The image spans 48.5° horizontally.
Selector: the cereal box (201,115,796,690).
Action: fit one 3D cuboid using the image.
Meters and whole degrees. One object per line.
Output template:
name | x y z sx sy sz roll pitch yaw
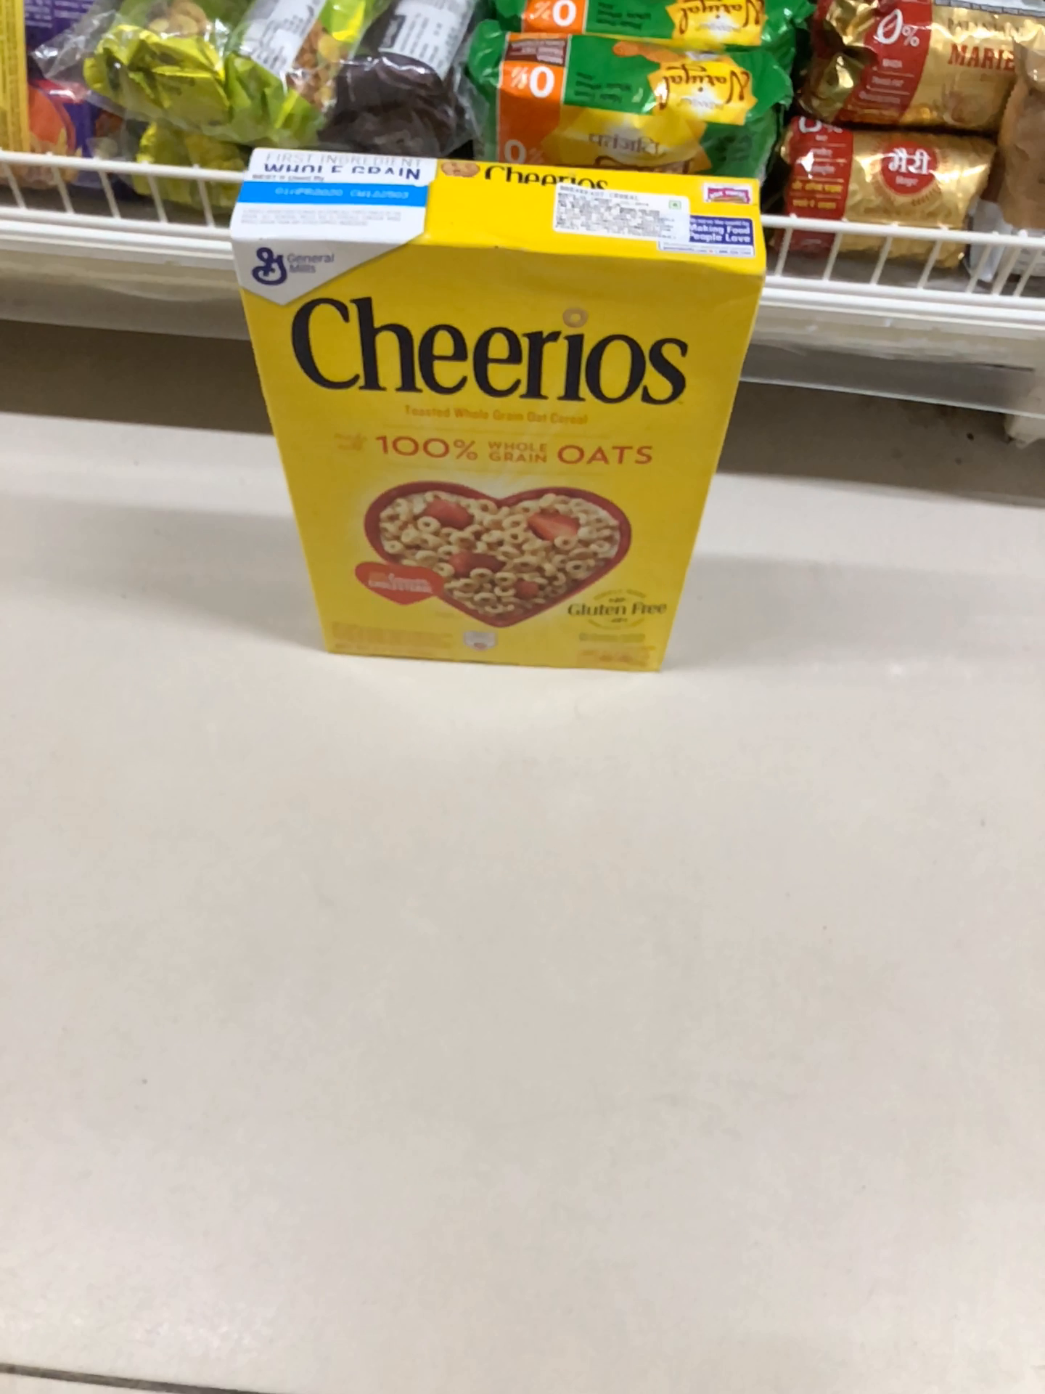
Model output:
cereal box | -0.010 -0.107 0.530 0.200 0.289 0.060 4 61 0
